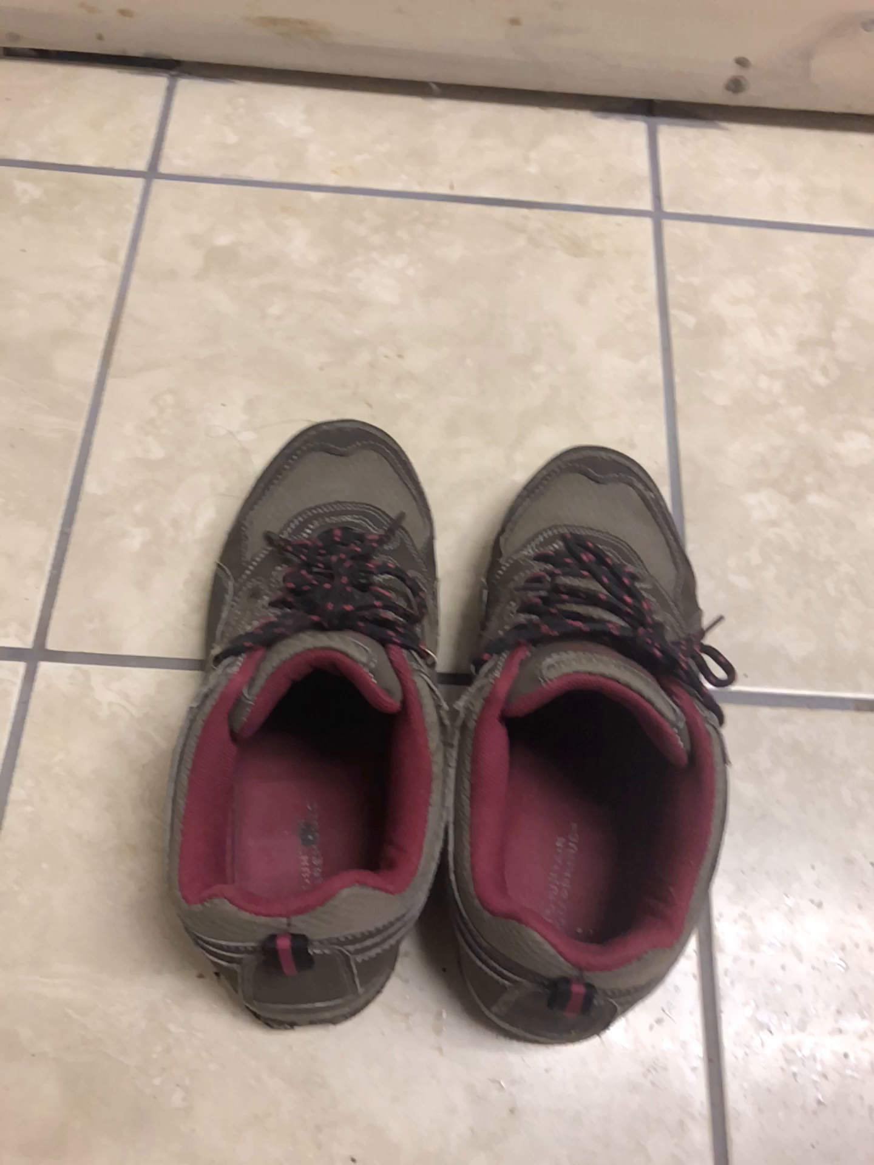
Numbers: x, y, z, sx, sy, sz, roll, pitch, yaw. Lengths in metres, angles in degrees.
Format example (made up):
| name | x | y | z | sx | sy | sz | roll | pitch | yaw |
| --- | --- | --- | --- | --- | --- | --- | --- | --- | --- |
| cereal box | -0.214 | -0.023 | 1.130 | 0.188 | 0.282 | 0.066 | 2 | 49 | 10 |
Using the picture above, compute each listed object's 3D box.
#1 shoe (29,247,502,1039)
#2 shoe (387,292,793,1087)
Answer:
| name | x | y | z | sx | sy | sz | roll | pitch | yaw |
| --- | --- | --- | --- | --- | --- | --- | --- | --- | --- |
| shoe | -0.045 | 0.022 | 0.370 | 0.120 | 0.120 | 0.271 | 4 | 65 | -1 |
| shoe | 0.054 | 0.037 | 0.369 | 0.110 | 0.120 | 0.261 | 8 | 65 | 0 |
